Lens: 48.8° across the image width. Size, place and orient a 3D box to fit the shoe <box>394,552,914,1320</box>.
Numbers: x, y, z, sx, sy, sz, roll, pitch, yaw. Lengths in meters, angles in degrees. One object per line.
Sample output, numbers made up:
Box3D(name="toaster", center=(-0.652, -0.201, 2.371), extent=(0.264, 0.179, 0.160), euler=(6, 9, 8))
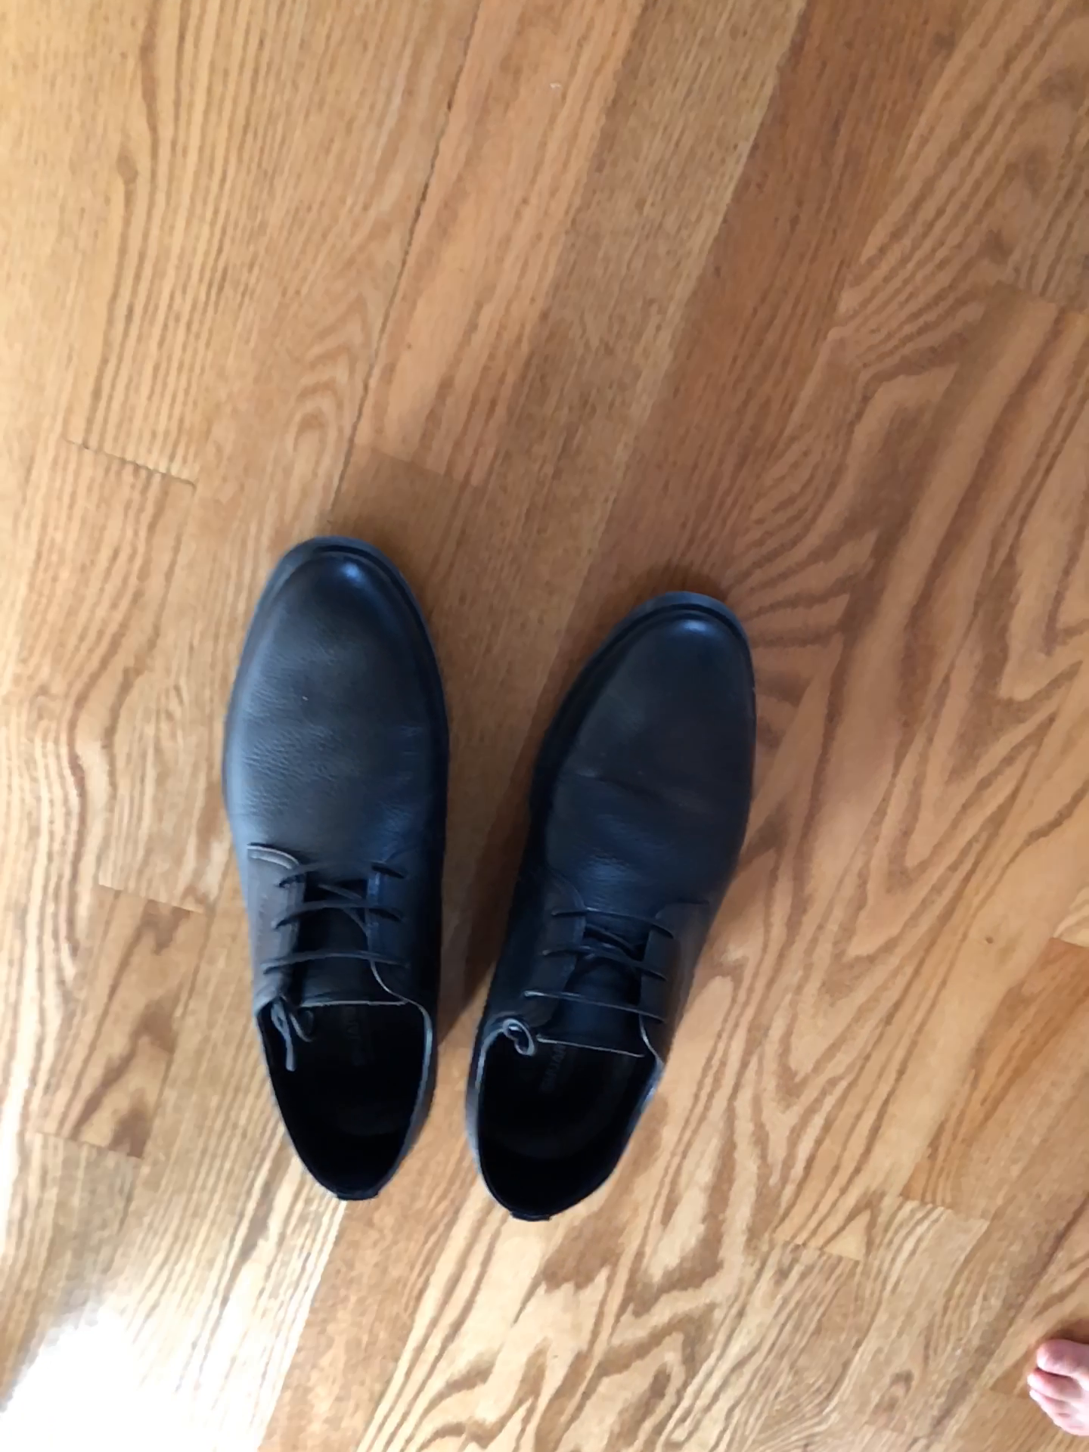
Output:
Box3D(name="shoe", center=(0.033, 0.093, 0.534), extent=(0.110, 0.124, 0.300), euler=(17, 110, -8))

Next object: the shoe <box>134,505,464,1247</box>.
Box3D(name="shoe", center=(-0.093, 0.066, 0.534), extent=(0.110, 0.124, 0.304), euler=(1, 111, -2))
